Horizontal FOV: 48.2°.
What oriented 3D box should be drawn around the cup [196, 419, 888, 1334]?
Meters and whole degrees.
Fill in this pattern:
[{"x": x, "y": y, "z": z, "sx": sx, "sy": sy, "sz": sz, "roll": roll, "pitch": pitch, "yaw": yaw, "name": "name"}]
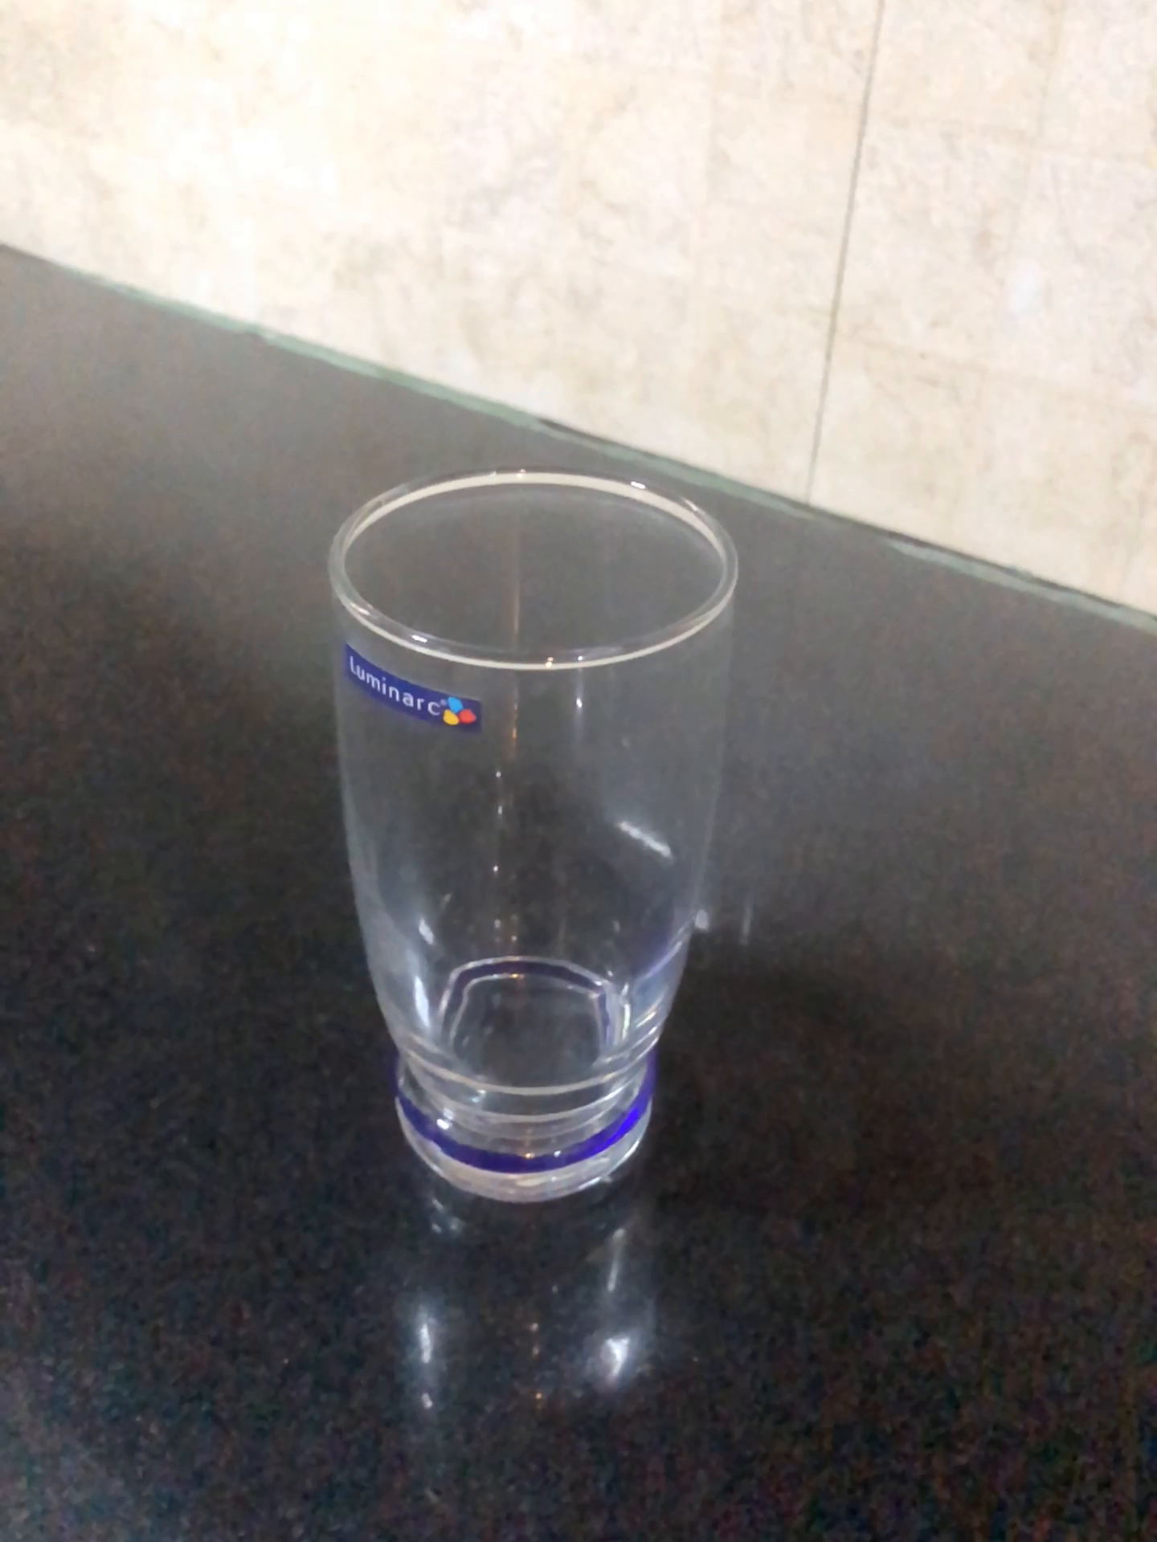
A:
[{"x": -0.004, "y": 0.017, "z": 0.241, "sx": 0.080, "sy": 0.129, "sz": 0.080, "roll": 2, "pitch": 36, "yaw": -1, "name": "cup"}]
